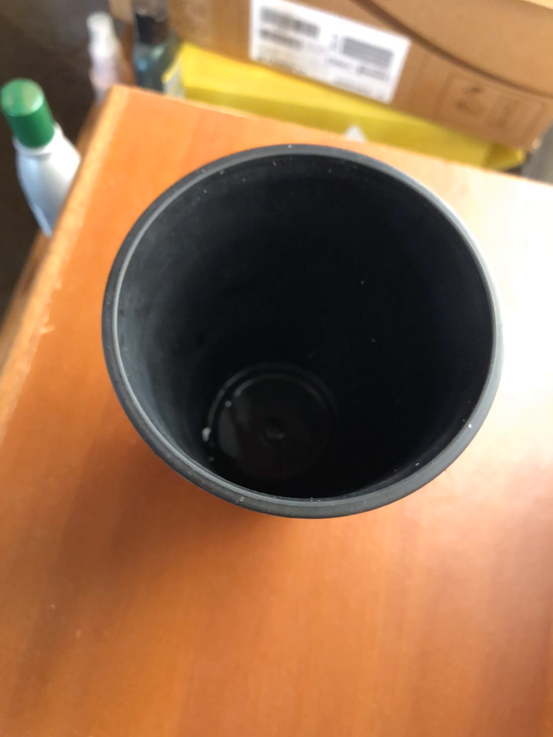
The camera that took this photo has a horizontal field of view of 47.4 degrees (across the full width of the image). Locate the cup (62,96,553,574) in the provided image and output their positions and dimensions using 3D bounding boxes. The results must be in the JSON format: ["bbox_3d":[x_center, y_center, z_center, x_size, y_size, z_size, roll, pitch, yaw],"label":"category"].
[{"bbox_3d":[0.006,0.005,0.213,0.100,0.140,0.090,-19,74,-12],"label":"cup"}]
